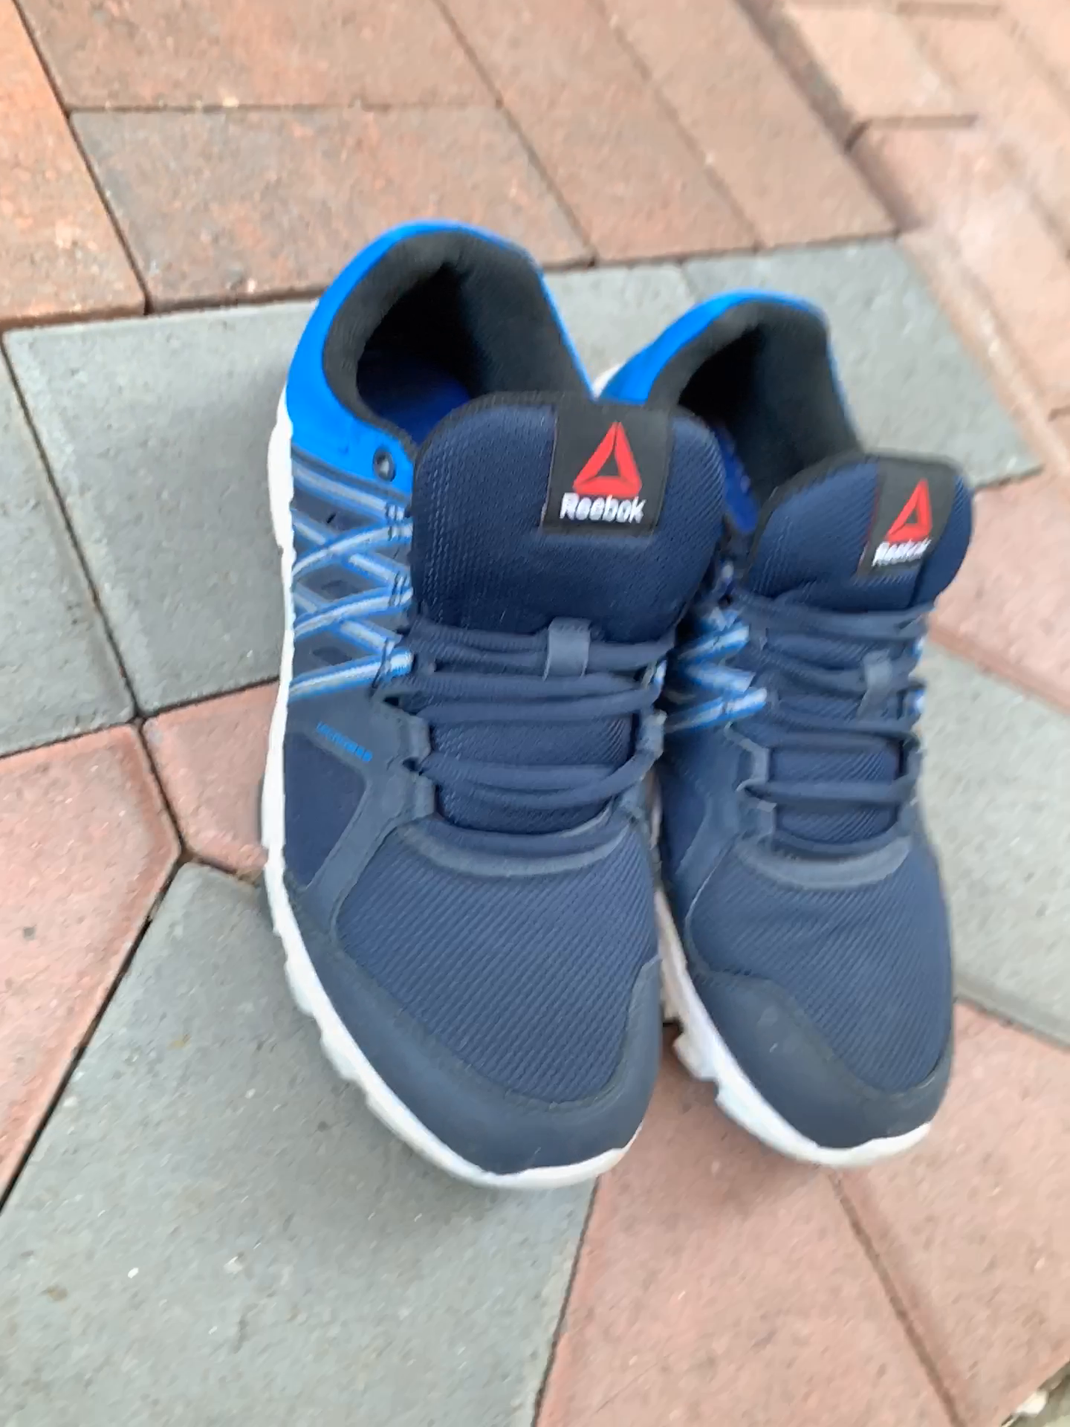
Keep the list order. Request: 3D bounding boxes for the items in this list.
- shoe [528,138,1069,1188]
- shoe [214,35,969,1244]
[{"bbox_3d":[0.091,-0.017,0.342,0.110,0.119,0.281,0,66,-22],"label":"shoe"},{"bbox_3d":[-0.013,-0.018,0.283,0.110,0.119,0.261,-1,66,-22],"label":"shoe"}]
